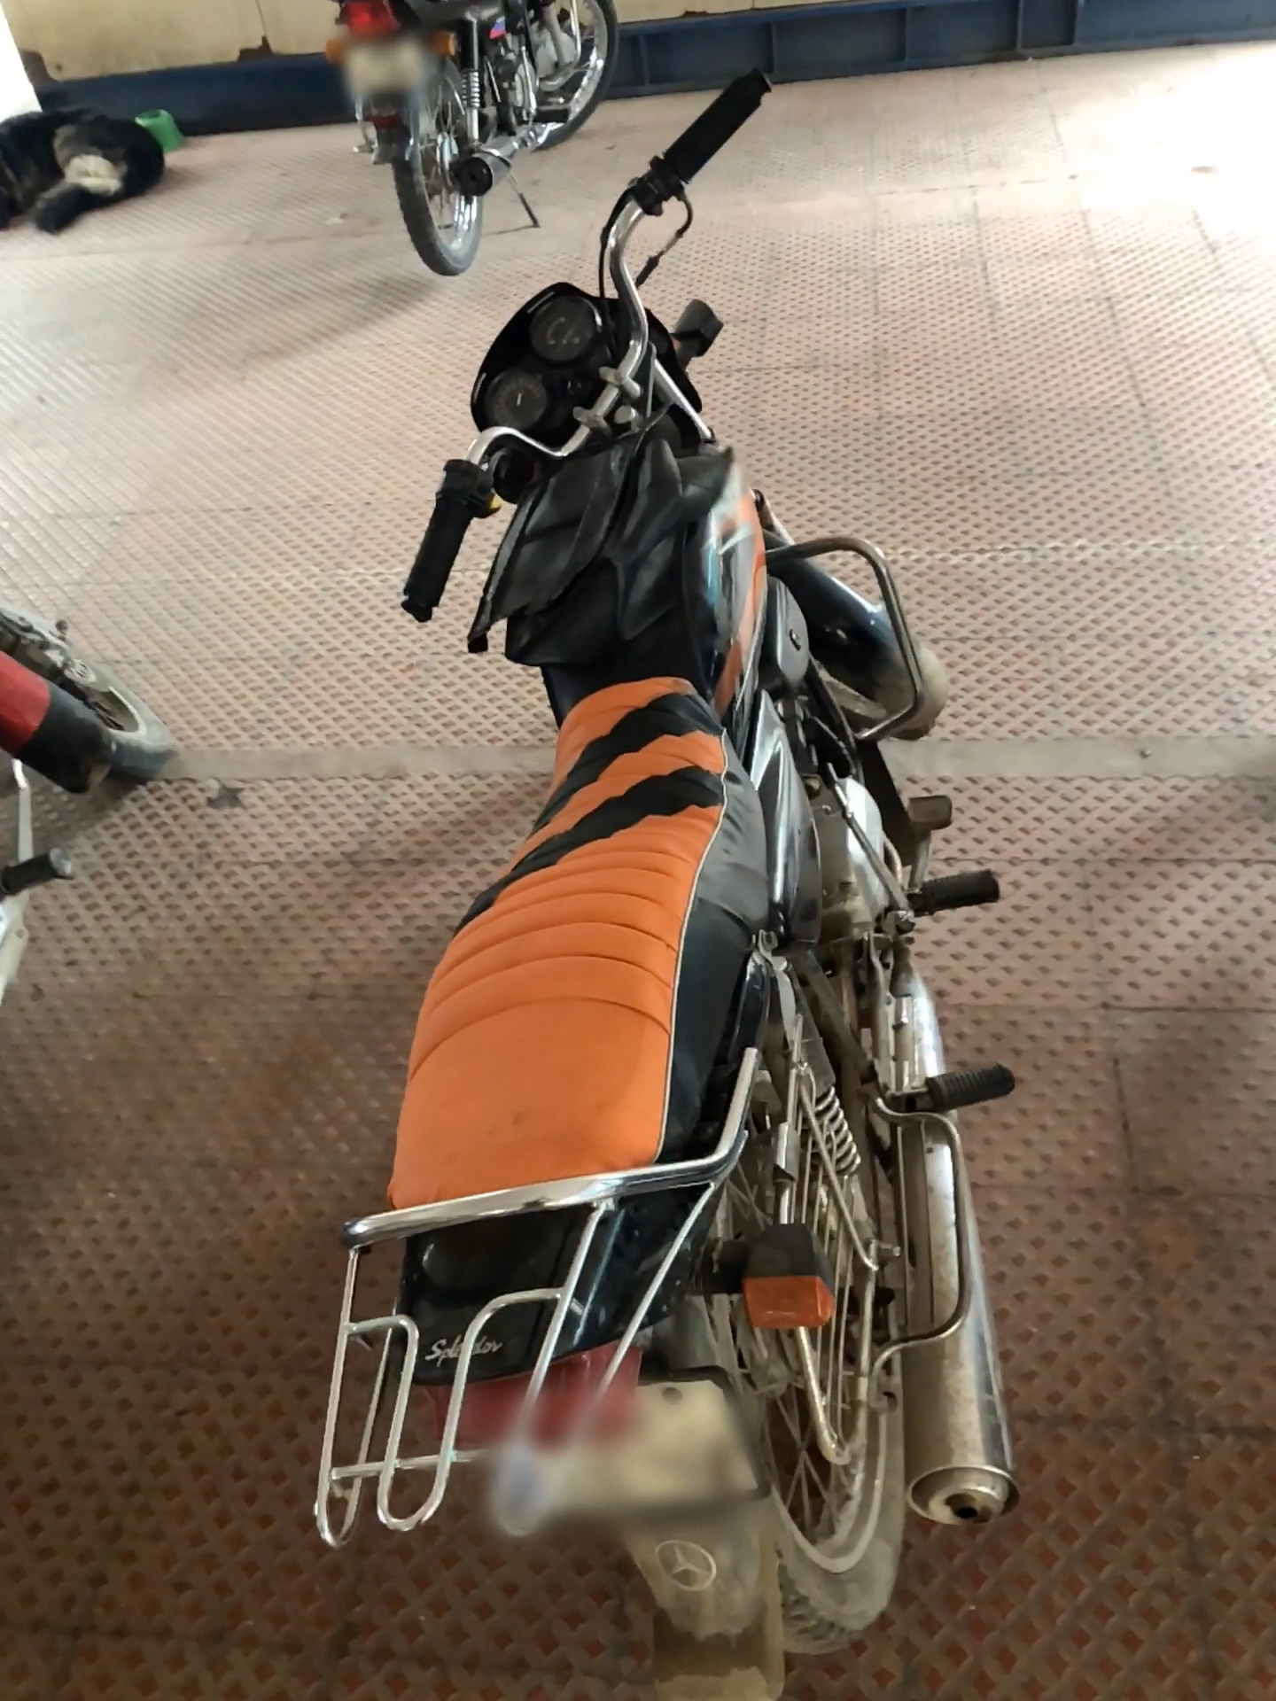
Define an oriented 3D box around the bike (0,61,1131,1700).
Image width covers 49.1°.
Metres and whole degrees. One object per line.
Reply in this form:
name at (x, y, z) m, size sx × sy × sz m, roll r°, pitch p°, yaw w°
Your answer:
bike at (-0.073, -0.030, 1.530) m, size 0.688 × 1.123 × 1.410 m, roll -4°, pitch 43°, yaw 5°
